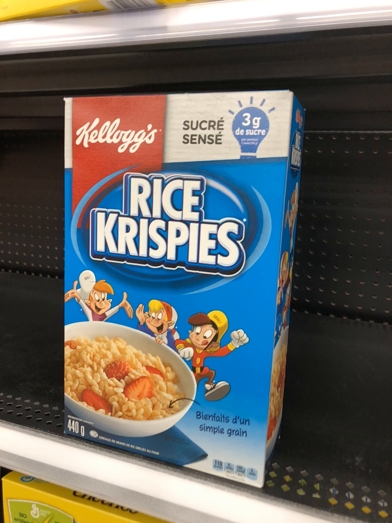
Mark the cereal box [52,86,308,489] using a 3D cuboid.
[{"bbox_3d":[-0.019,0.014,0.387,0.200,0.299,0.080,6,9,21],"label":"cereal box"}]
